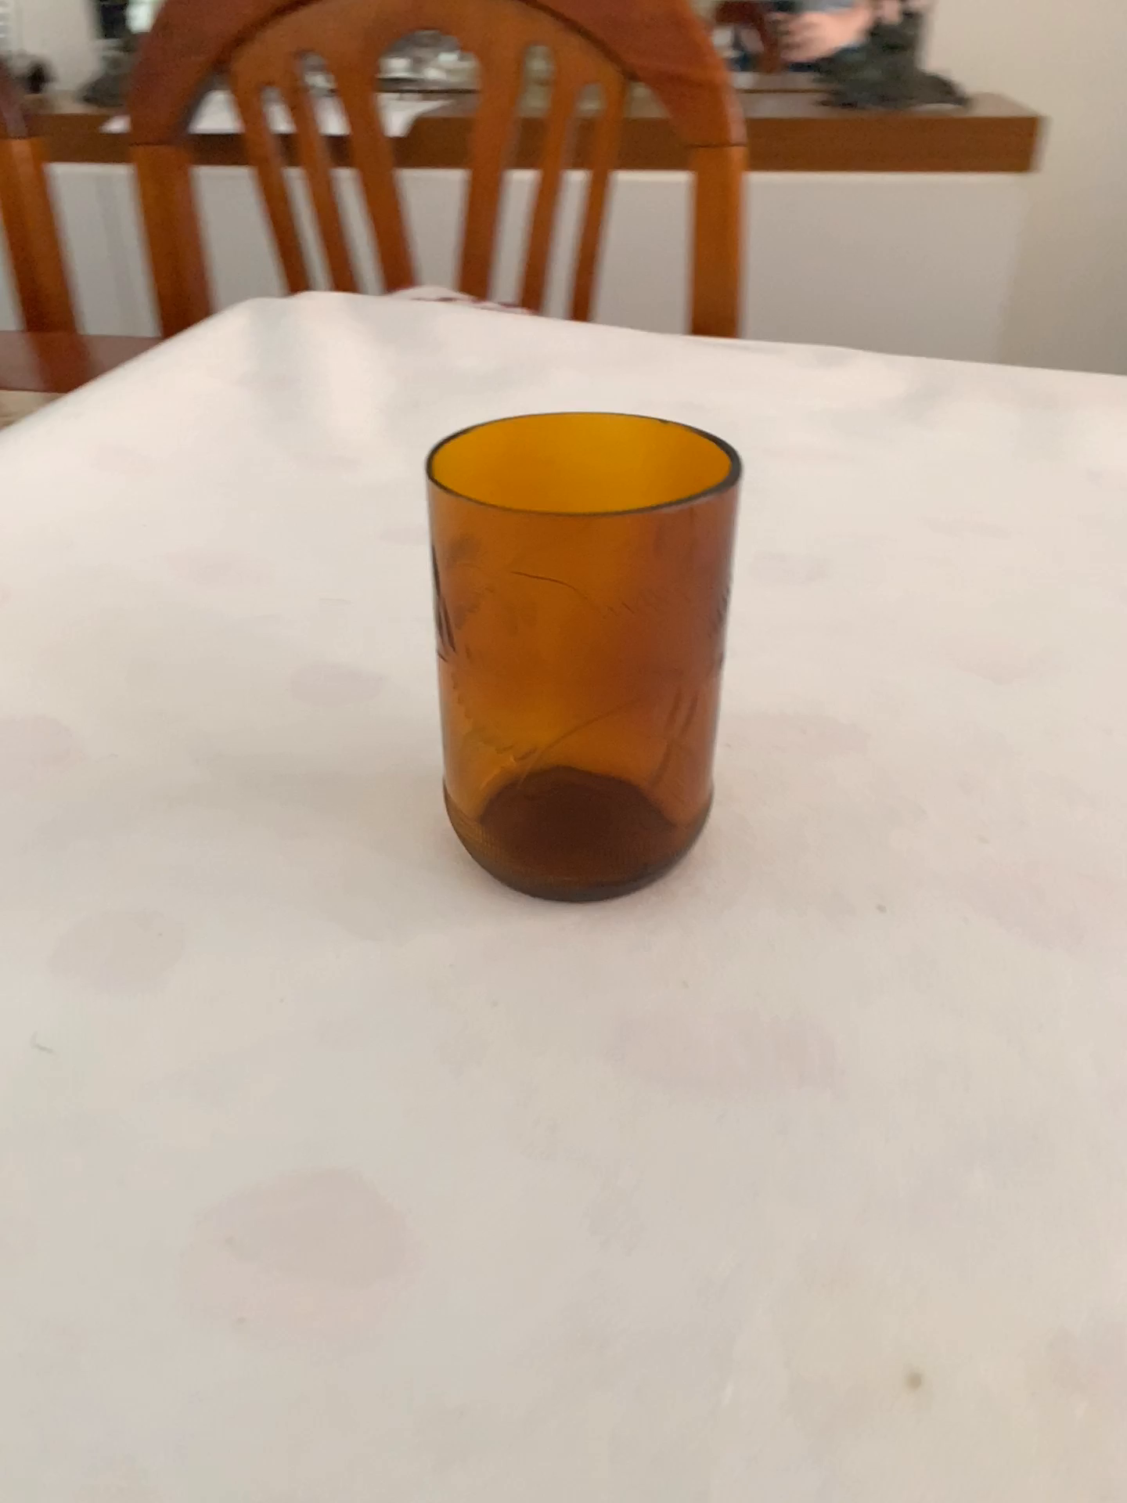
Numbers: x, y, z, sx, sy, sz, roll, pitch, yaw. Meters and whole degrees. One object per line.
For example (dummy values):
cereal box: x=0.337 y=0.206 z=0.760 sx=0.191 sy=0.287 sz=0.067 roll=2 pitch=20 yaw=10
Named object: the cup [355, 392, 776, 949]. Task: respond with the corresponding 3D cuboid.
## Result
cup: x=0.005 y=-0.020 z=0.246 sx=0.070 sy=0.089 sz=0.070 roll=0 pitch=32 yaw=0
